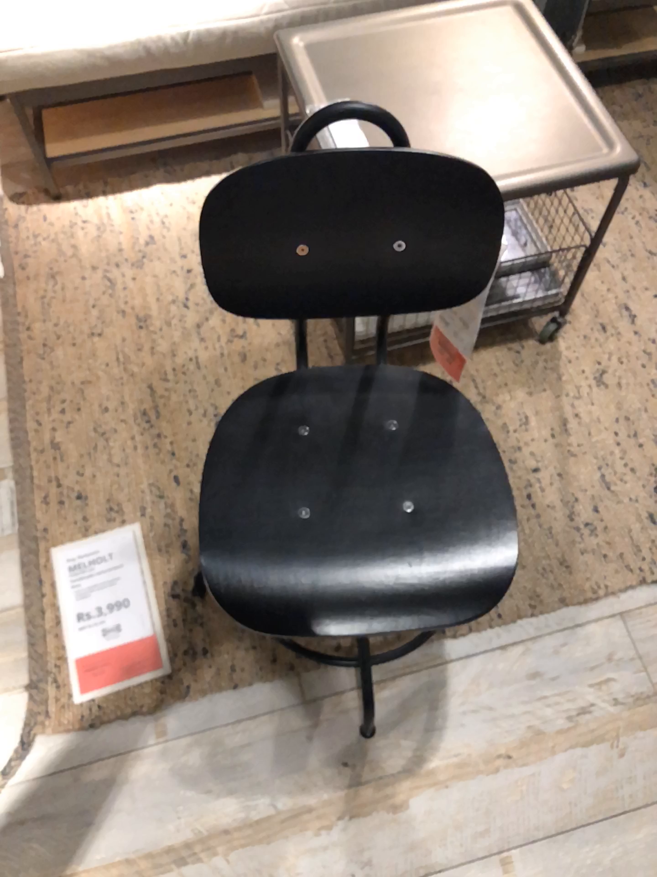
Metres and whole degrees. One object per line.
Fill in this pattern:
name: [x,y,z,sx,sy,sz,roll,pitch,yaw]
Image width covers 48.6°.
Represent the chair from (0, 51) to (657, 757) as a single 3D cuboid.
chair: [0.026,0.049,0.964,0.590,0.767,0.582,-4,62,-2]
